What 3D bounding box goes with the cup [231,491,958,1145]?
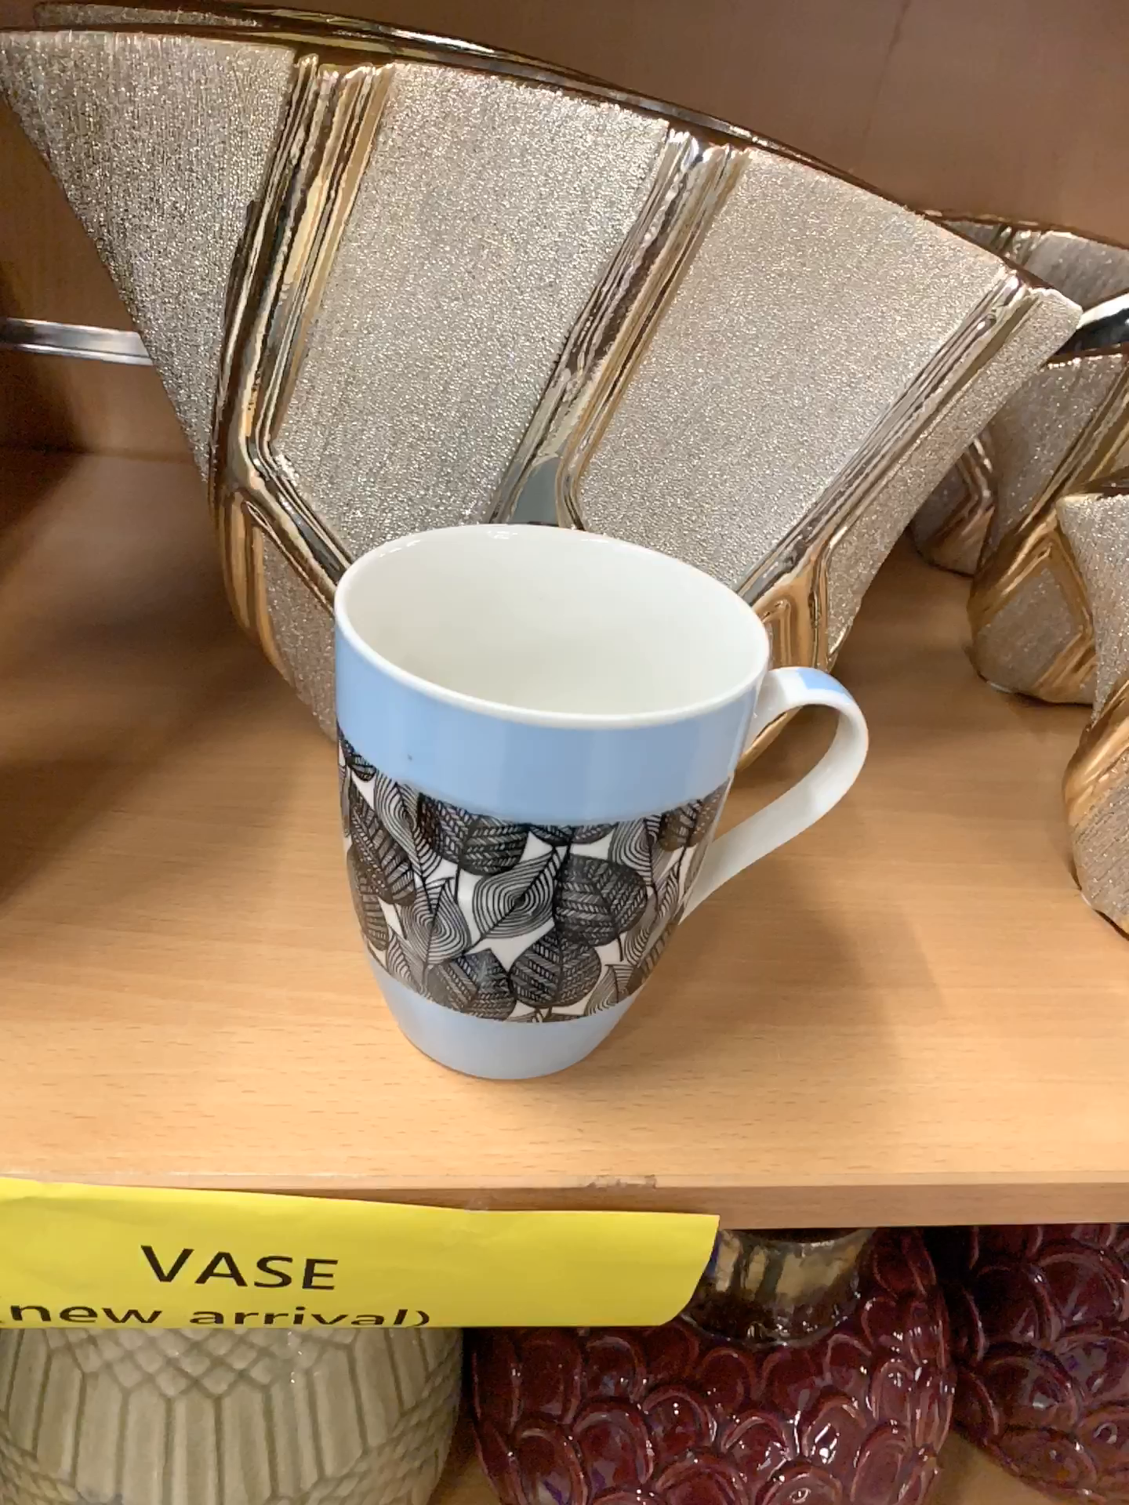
[{"bbox_3d":[-0.003,0.005,0.232,0.110,0.090,0.080,-5,32,-21],"label":"cup"}]
